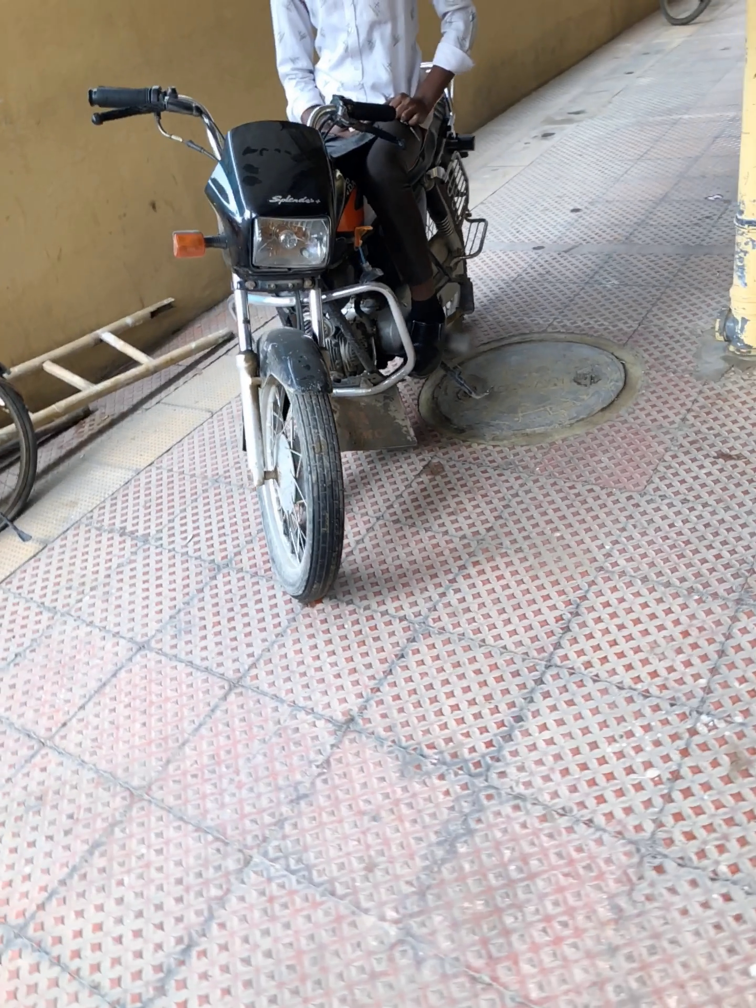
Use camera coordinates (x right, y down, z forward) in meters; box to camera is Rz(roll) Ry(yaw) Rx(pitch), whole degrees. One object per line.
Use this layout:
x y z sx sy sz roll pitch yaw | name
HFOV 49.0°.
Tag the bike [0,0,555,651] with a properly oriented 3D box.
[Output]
-0.050 -0.611 2.102 0.759 0.974 1.607 0 39 19 | bike
